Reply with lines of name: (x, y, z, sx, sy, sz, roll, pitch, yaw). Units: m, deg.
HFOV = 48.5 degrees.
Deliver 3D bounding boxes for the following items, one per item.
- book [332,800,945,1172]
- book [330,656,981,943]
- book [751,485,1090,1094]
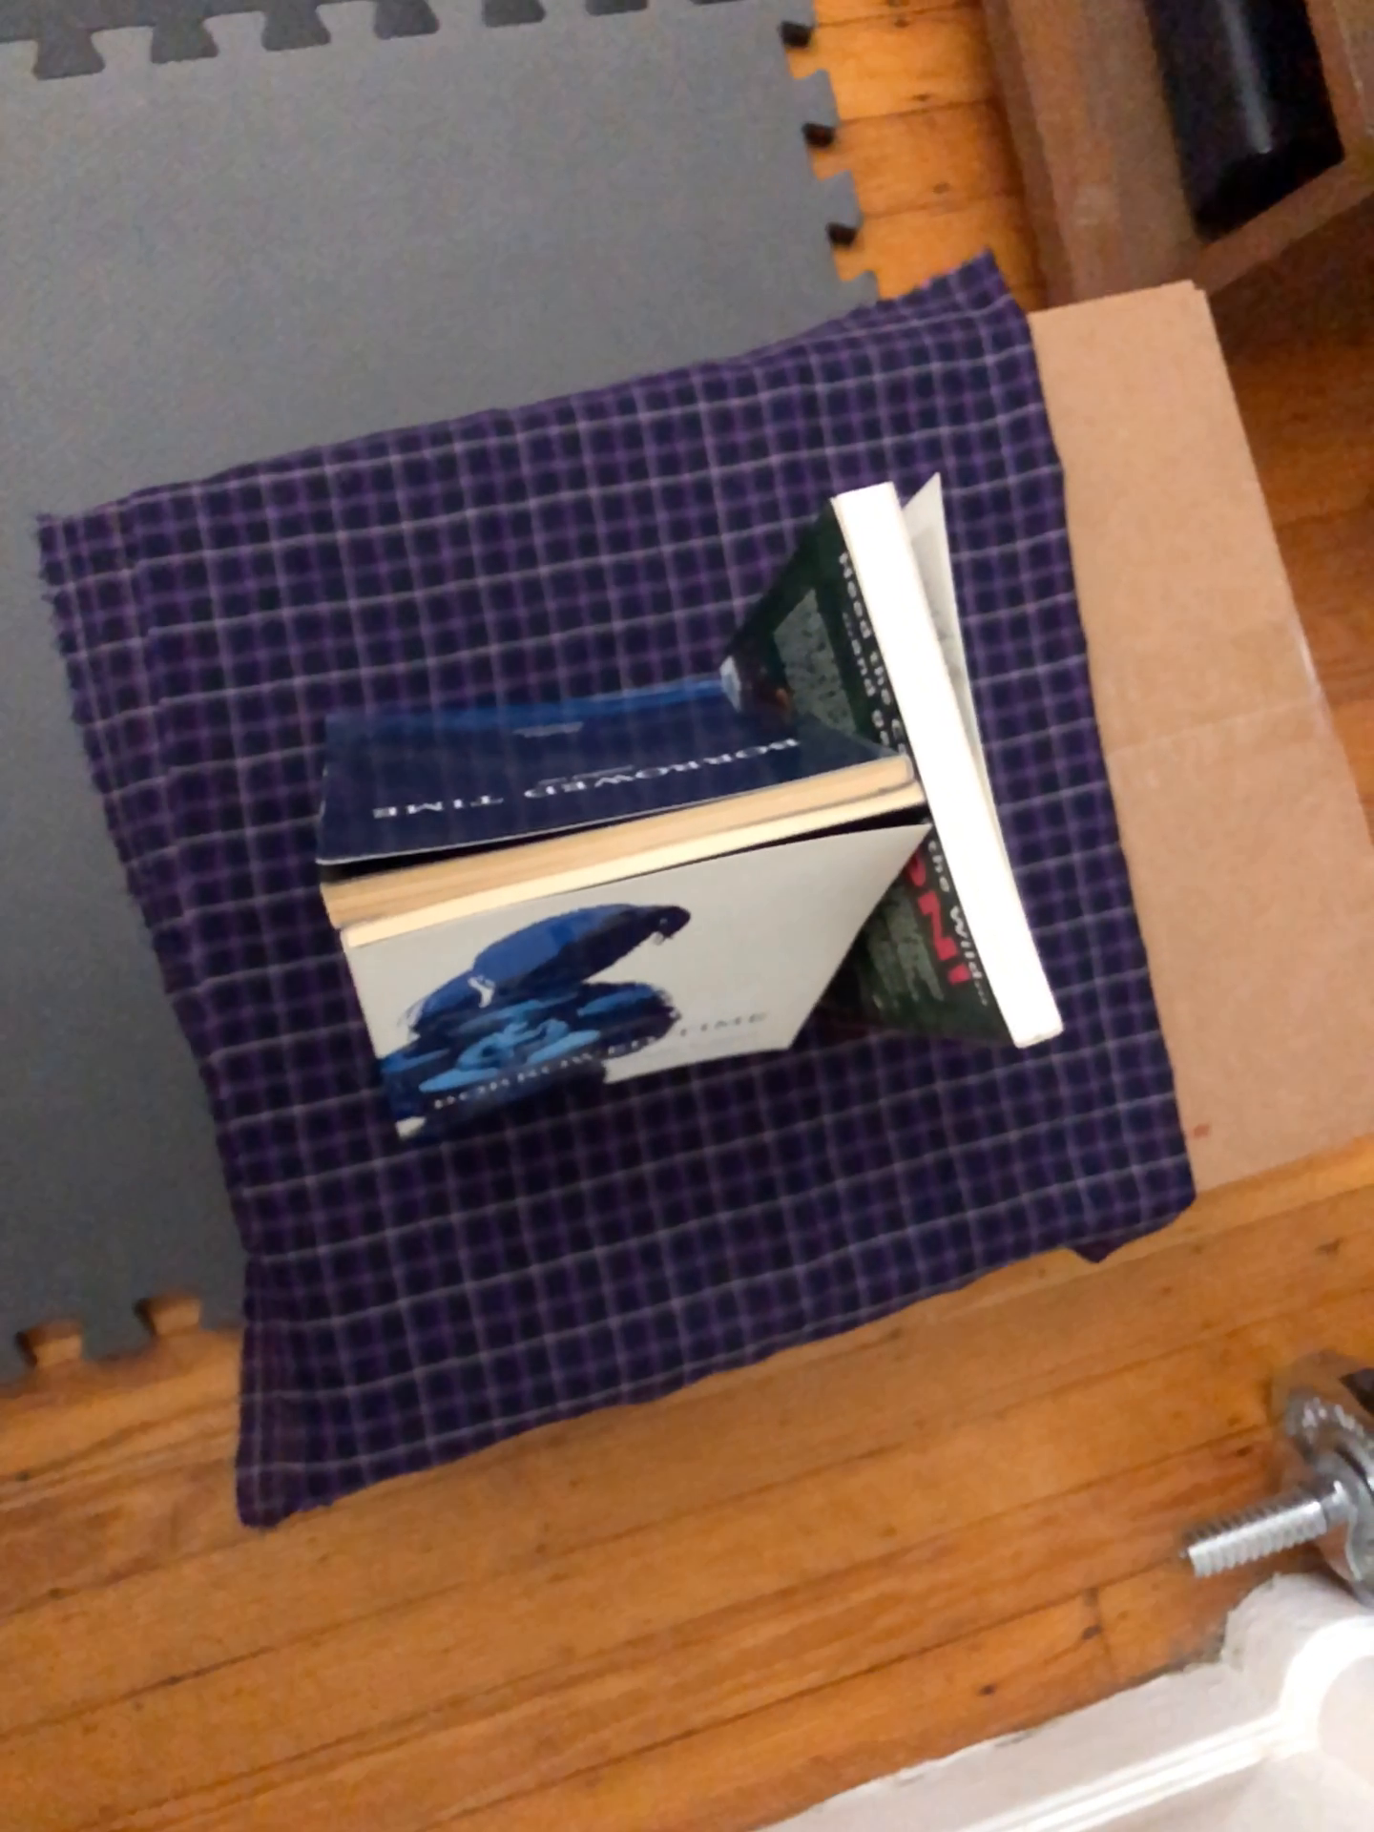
book: (-0.019, 0.029, 0.433, 0.140, 0.200, 0.010, -14, 71, -12)
book: (-0.026, -0.043, 0.438, 0.150, 0.200, 0.010, -11, 110, -10)
book: (0.058, -0.028, 0.446, 0.020, 0.190, 0.140, -16, 90, -4)
